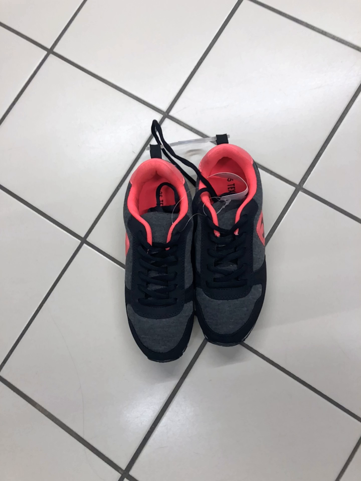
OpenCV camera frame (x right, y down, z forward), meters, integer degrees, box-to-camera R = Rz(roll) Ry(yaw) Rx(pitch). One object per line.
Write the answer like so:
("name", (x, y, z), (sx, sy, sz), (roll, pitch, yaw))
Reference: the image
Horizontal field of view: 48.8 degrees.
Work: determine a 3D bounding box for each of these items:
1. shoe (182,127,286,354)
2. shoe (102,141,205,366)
("shoe", (0.055, 0.004, 0.436), (0.090, 0.100, 0.220), (-3, 80, 7))
("shoe", (-0.027, 0.017, 0.444), (0.090, 0.100, 0.220), (-4, 80, 6))
